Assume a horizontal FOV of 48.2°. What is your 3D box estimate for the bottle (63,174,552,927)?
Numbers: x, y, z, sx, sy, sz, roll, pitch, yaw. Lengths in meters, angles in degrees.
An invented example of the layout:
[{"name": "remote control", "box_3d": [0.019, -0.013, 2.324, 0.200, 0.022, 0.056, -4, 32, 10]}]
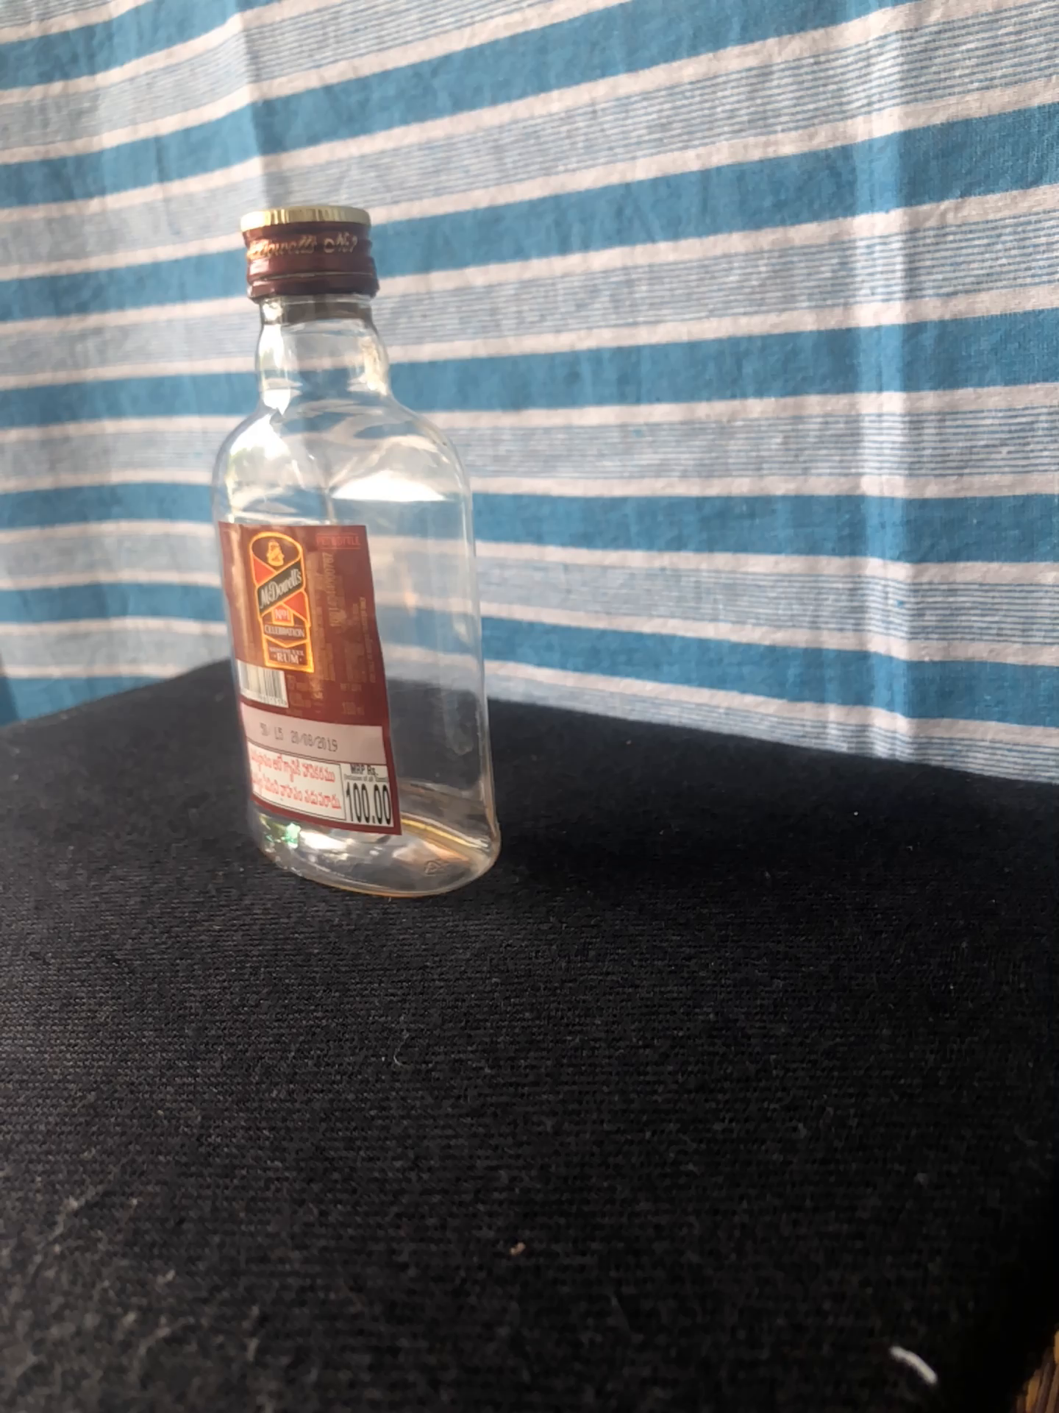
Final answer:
[{"name": "bottle", "box_3d": [-0.043, -0.032, 0.241, 0.080, 0.130, 0.040, 11, 23, 38]}]
